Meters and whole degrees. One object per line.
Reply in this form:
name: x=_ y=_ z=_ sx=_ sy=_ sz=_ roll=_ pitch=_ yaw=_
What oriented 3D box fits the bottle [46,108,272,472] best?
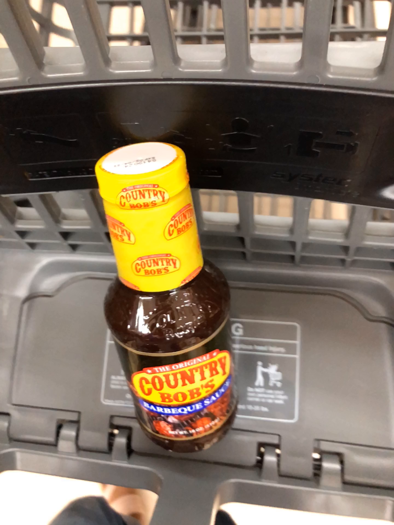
bottle: x=-0.010 y=0.020 z=0.236 sx=0.080 sy=0.080 sz=0.170 roll=-8 pitch=124 yaw=-3
